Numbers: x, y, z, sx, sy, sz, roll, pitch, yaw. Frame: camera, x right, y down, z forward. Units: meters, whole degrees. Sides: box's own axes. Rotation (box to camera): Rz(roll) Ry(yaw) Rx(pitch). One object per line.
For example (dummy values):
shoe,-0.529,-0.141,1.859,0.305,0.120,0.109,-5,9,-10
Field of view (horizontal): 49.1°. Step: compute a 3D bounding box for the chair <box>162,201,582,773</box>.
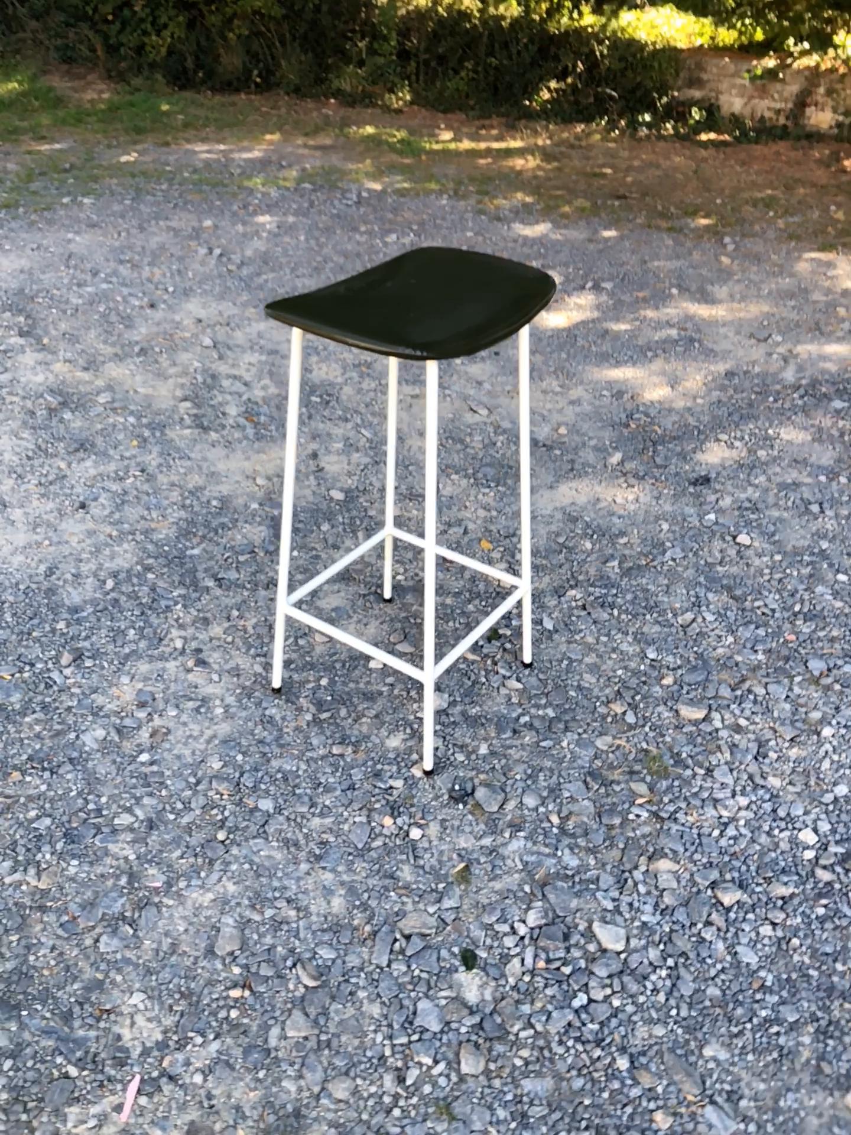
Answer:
chair,-0.053,-0.123,1.341,0.370,0.646,0.372,22,41,28
